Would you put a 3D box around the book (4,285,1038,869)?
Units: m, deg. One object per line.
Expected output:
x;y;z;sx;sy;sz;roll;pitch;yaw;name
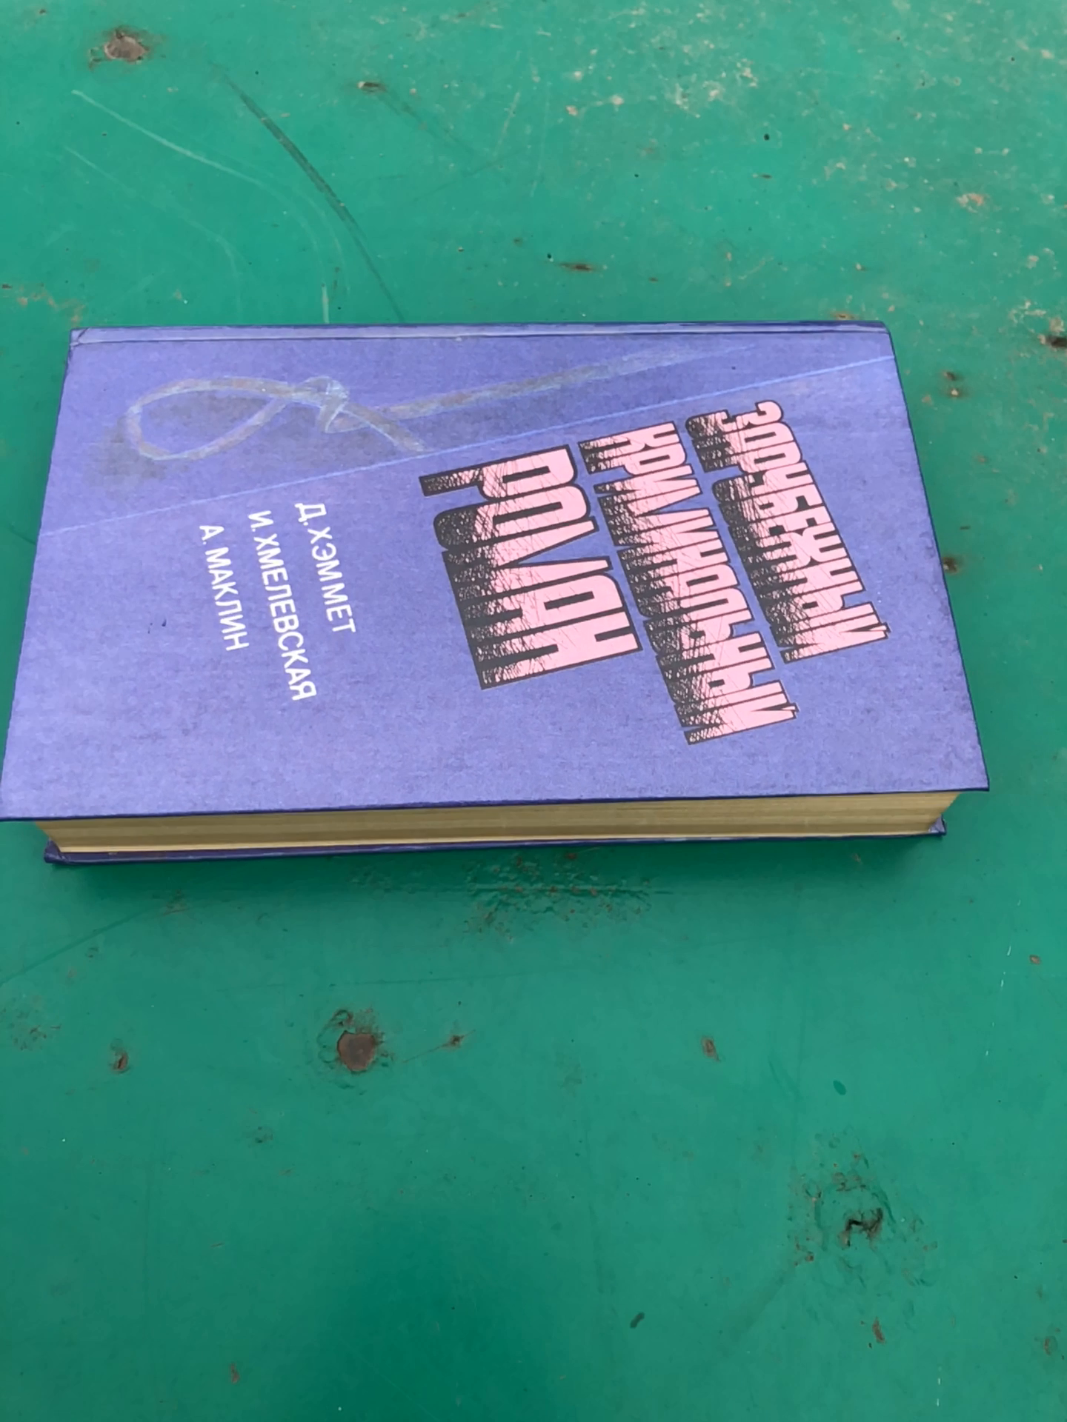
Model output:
-0.004;-0.036;0.282;0.208;0.030;0.137;-2;65;-1;book
